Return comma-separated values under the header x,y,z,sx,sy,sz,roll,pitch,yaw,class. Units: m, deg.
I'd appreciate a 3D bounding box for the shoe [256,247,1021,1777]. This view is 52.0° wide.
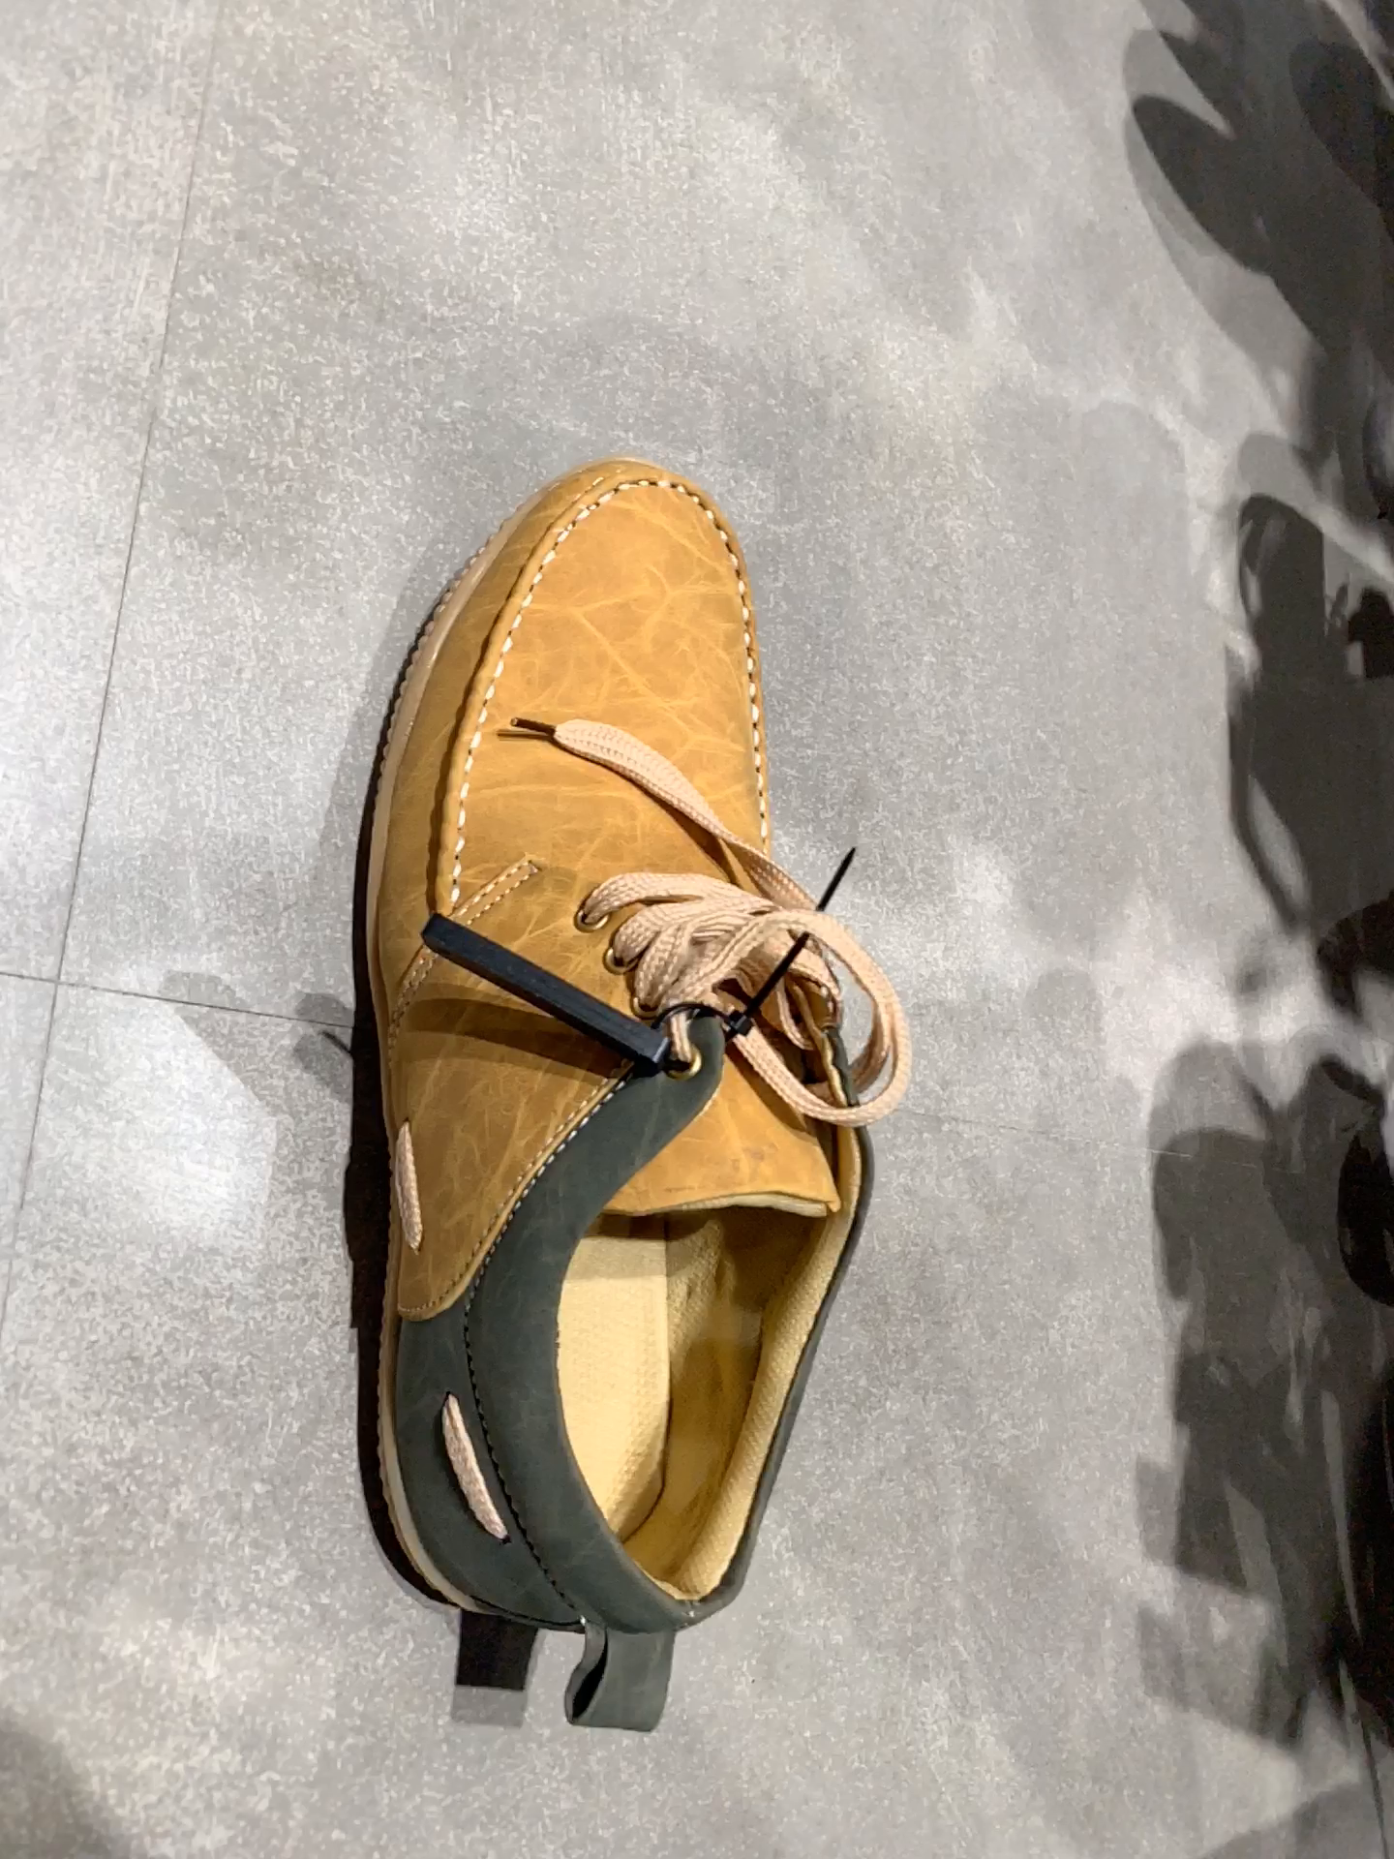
x,y,z,sx,sy,sz,roll,pitch,yaw,class
-0.011,0.016,0.324,0.112,0.116,0.267,11,74,-36,shoe
